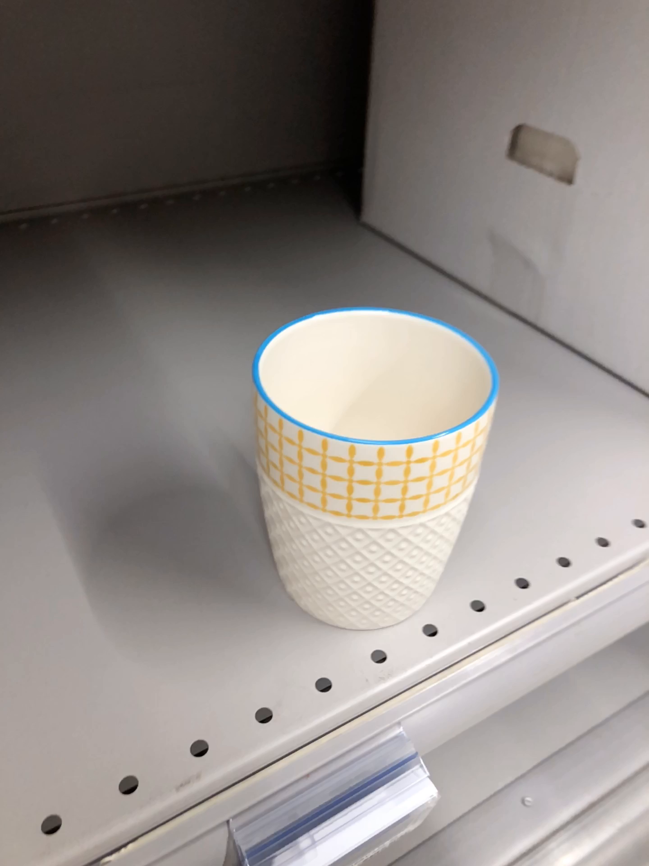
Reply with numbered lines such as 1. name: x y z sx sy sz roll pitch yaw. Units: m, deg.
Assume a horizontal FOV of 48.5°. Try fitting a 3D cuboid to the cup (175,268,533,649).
1. cup: 0.015 0.004 0.286 0.105 0.092 0.118 2 39 5
